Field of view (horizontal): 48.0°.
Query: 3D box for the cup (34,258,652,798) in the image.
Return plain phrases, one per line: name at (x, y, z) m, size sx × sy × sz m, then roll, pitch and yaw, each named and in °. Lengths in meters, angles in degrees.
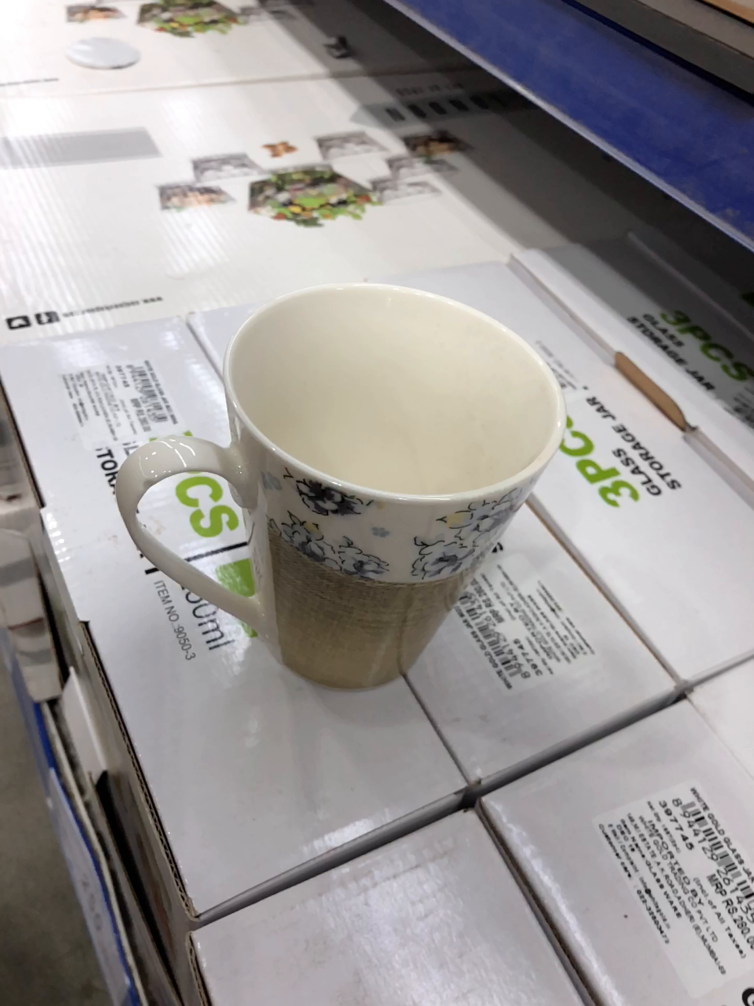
cup at (-0.017, 0.003, 0.243) m, size 0.130 × 0.100 × 0.090 m, roll -10°, pitch 49°, yaw -18°
